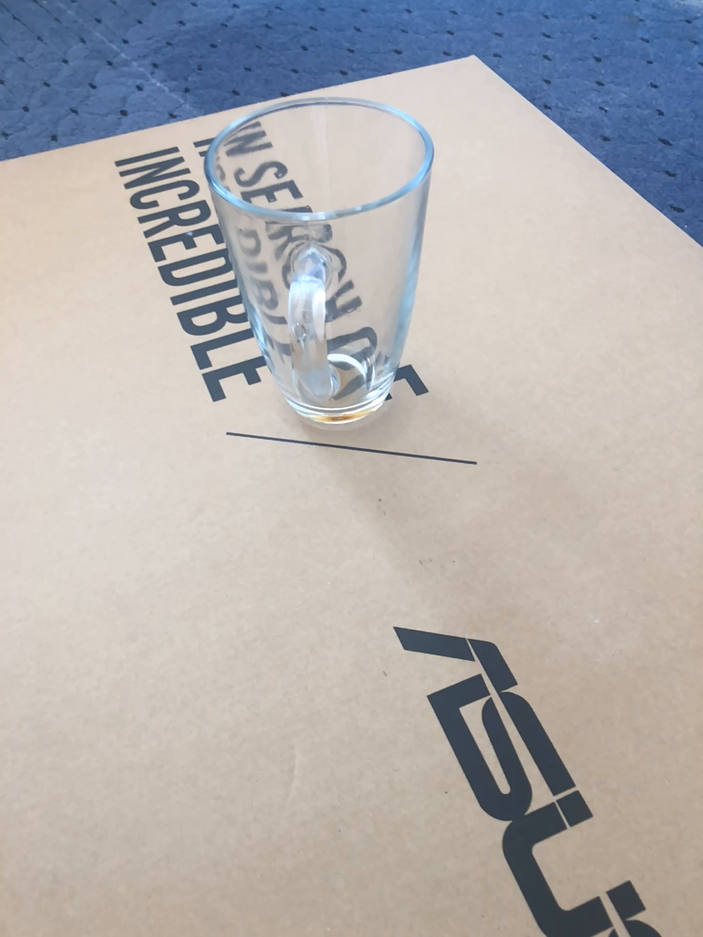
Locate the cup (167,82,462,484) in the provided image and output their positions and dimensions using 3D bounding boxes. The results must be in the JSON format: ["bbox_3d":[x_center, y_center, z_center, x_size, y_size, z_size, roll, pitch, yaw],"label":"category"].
[{"bbox_3d":[-0.017,-0.071,0.292,0.080,0.090,0.110,-9,51,-7],"label":"cup"}]
